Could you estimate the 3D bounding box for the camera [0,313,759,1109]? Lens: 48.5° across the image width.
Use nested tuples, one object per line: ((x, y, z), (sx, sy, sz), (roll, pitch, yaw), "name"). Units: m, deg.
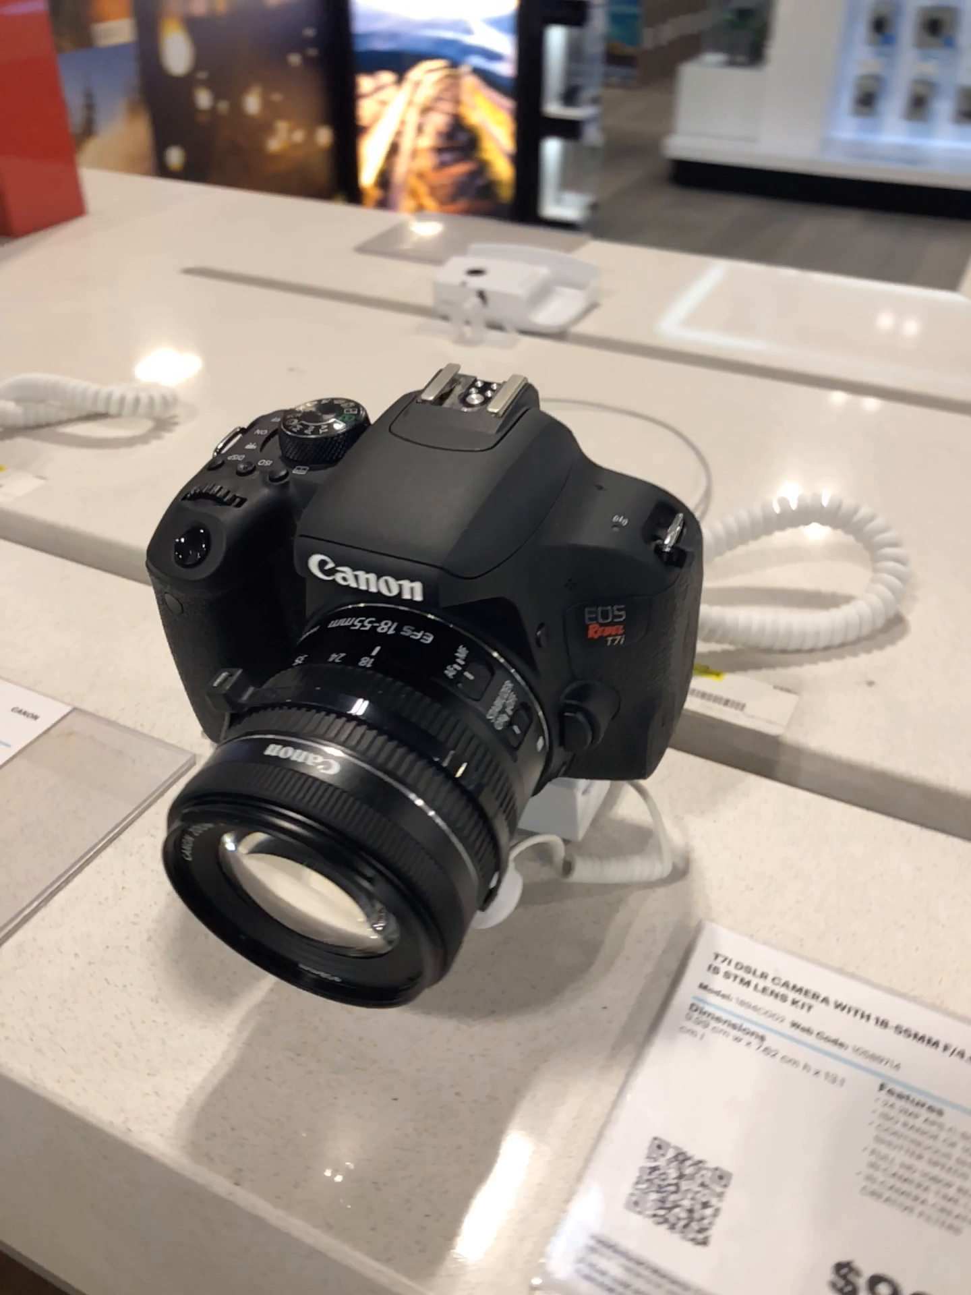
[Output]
((-0.025, 0.000, 0.255), (0.140, 0.099, 0.131), (14, 38, 18), "camera")
